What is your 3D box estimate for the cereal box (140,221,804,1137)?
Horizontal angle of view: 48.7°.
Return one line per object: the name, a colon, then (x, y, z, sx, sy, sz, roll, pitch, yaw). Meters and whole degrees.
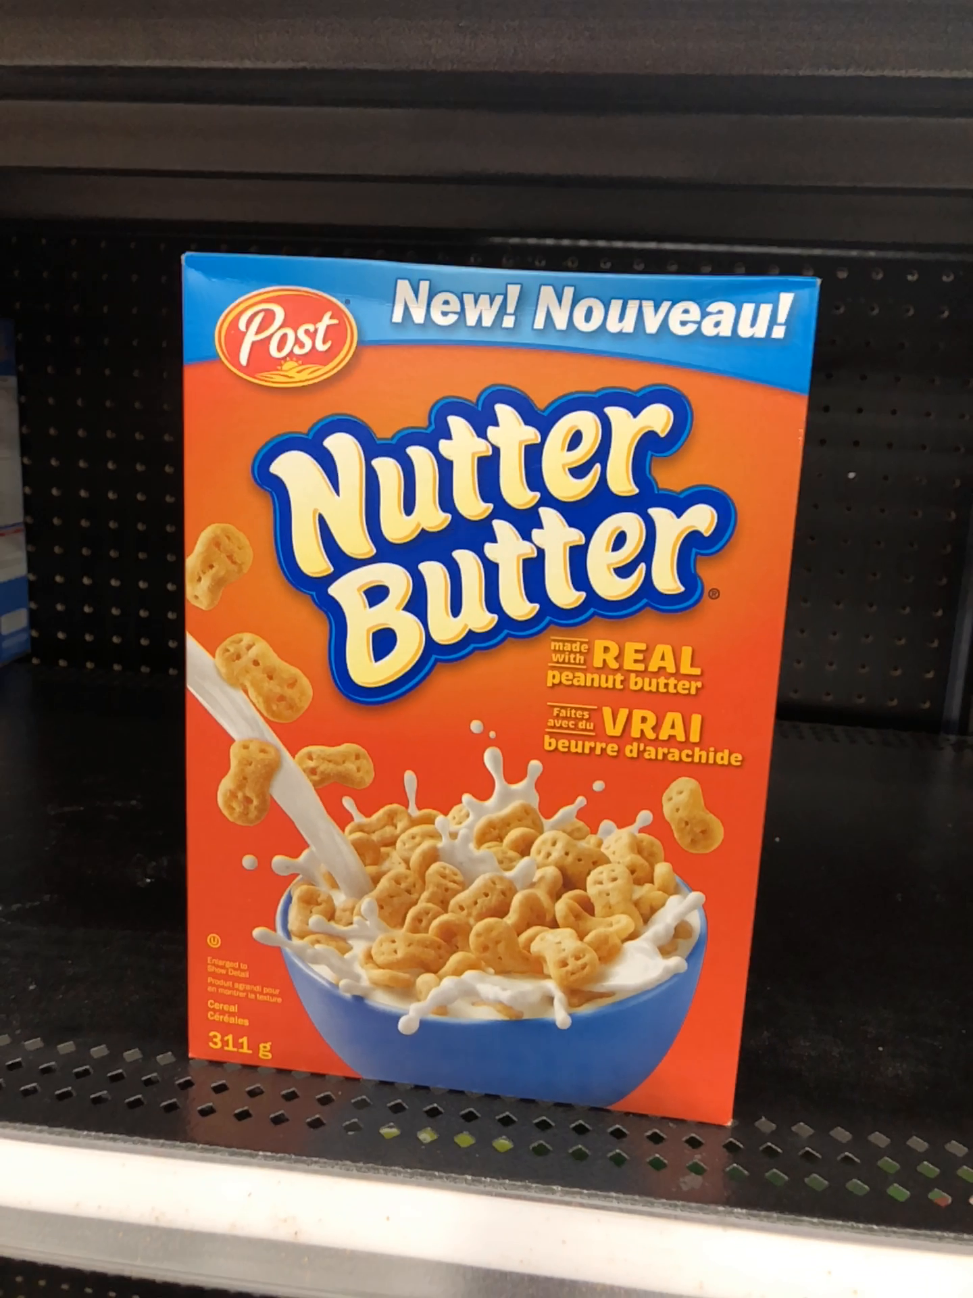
cereal box: (-0.009, 0.010, 0.363, 0.190, 0.279, 0.060, 4, 12, 7)
